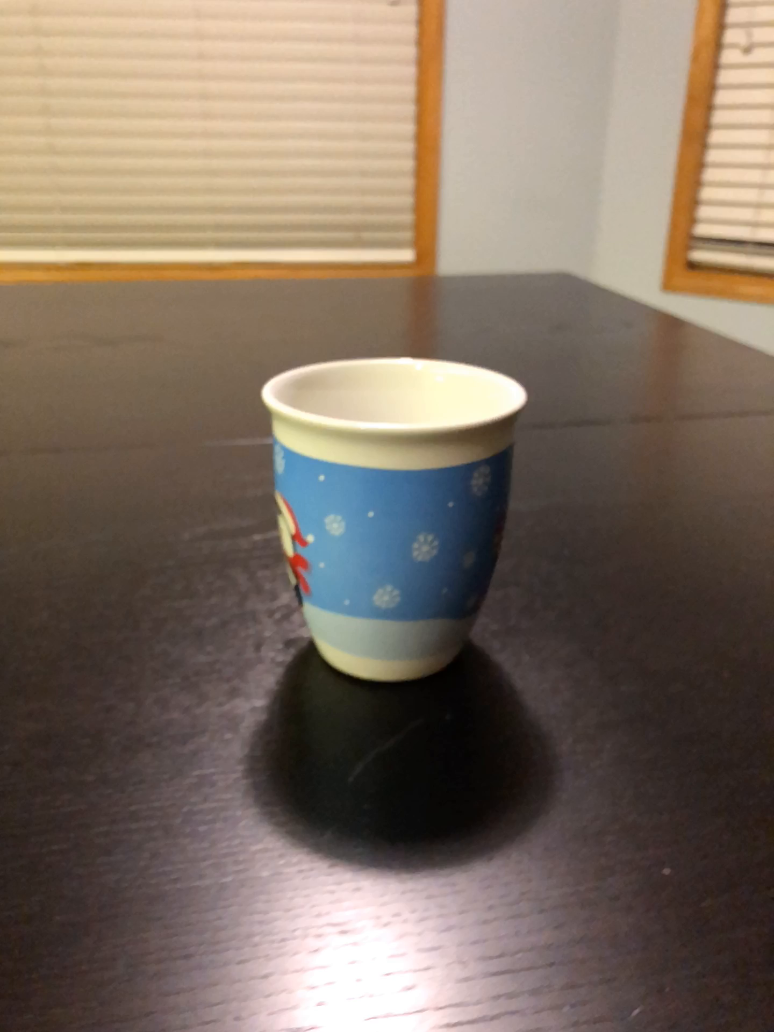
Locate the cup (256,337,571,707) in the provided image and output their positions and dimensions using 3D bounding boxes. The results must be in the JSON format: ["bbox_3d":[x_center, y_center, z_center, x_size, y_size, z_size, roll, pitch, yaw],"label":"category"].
[{"bbox_3d":[-0.001,-0.008,0.359,0.100,0.100,0.141,-2,23,-8],"label":"cup"}]
